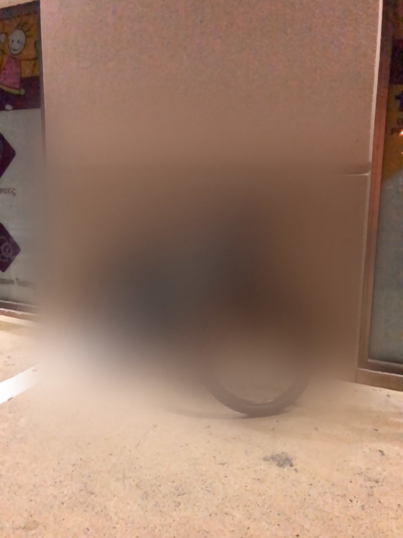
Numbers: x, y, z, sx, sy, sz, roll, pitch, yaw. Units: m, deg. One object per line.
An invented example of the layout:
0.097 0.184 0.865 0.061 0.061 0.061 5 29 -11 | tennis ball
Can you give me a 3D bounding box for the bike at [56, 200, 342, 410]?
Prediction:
-0.059 0.105 2.813 1.603 1.065 0.588 5 10 27 | bike
